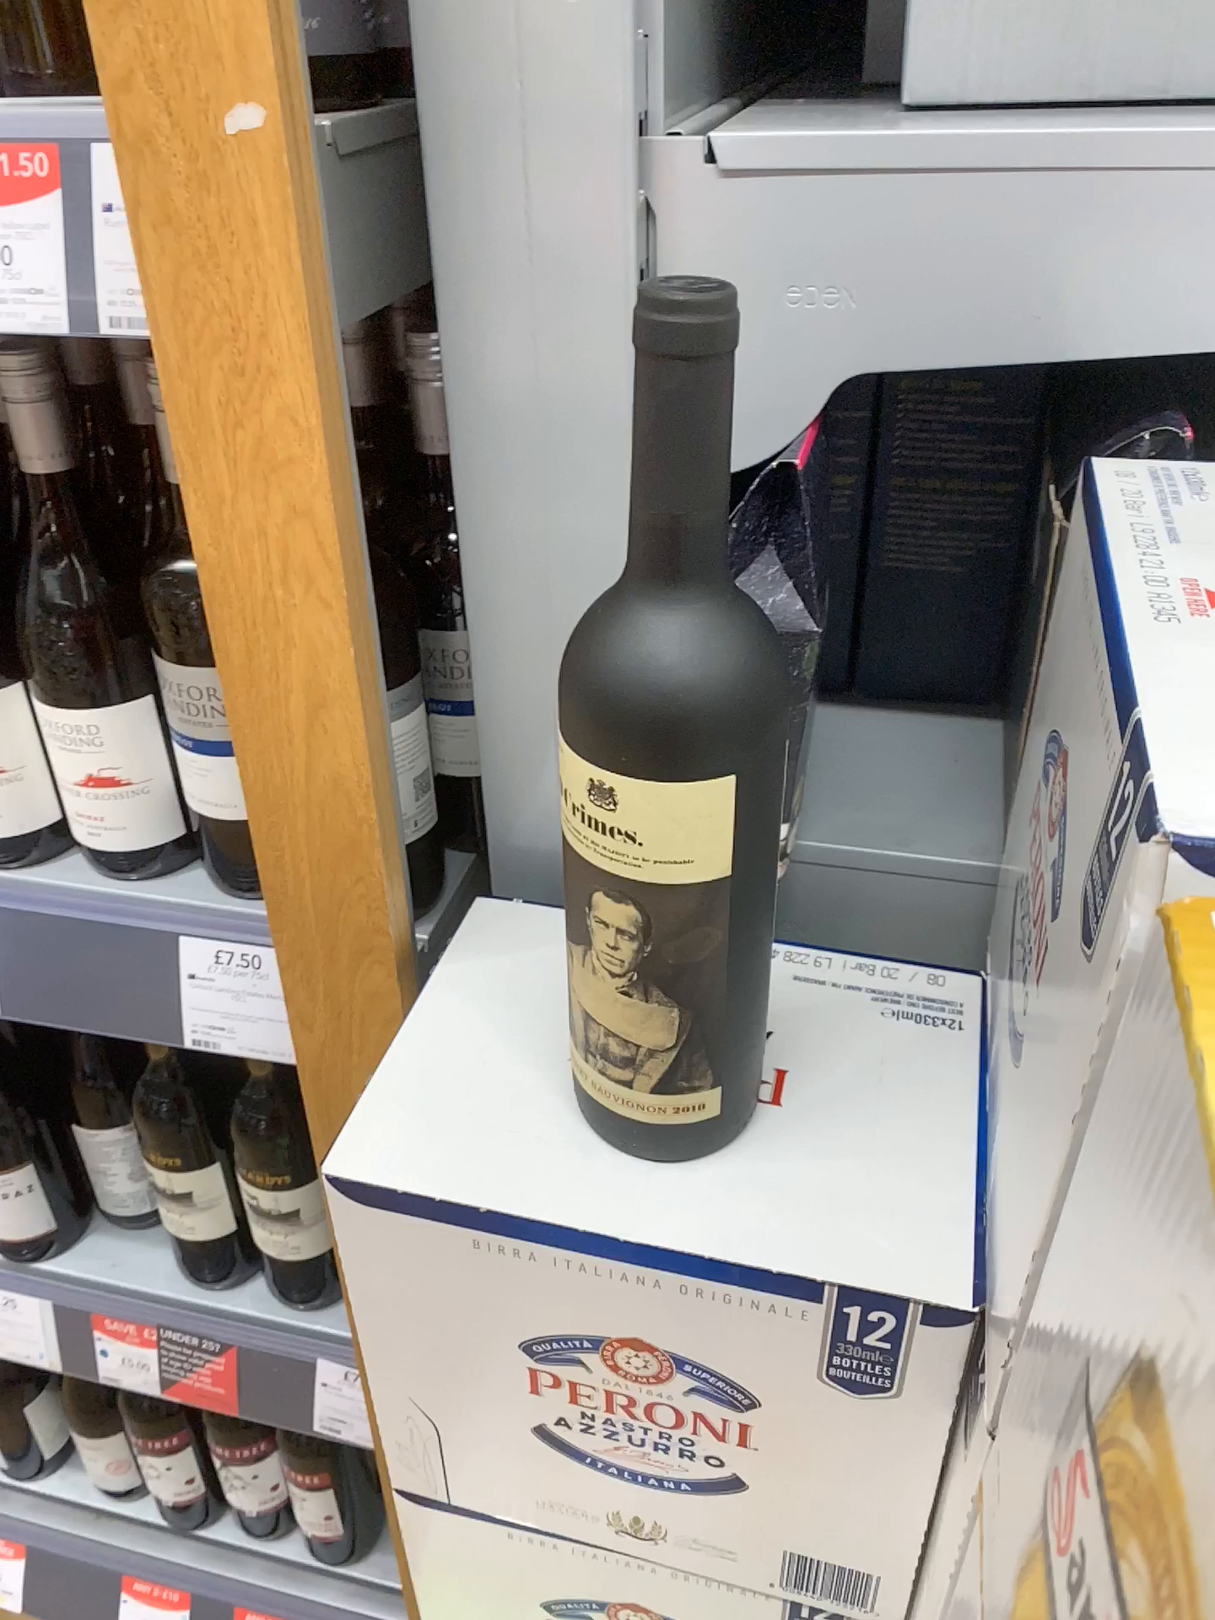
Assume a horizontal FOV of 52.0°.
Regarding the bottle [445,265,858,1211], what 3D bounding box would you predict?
[{"bbox_3d":[0.015,-0.010,0.400,0.078,0.288,0.075,-1,33,1],"label":"bottle"}]
